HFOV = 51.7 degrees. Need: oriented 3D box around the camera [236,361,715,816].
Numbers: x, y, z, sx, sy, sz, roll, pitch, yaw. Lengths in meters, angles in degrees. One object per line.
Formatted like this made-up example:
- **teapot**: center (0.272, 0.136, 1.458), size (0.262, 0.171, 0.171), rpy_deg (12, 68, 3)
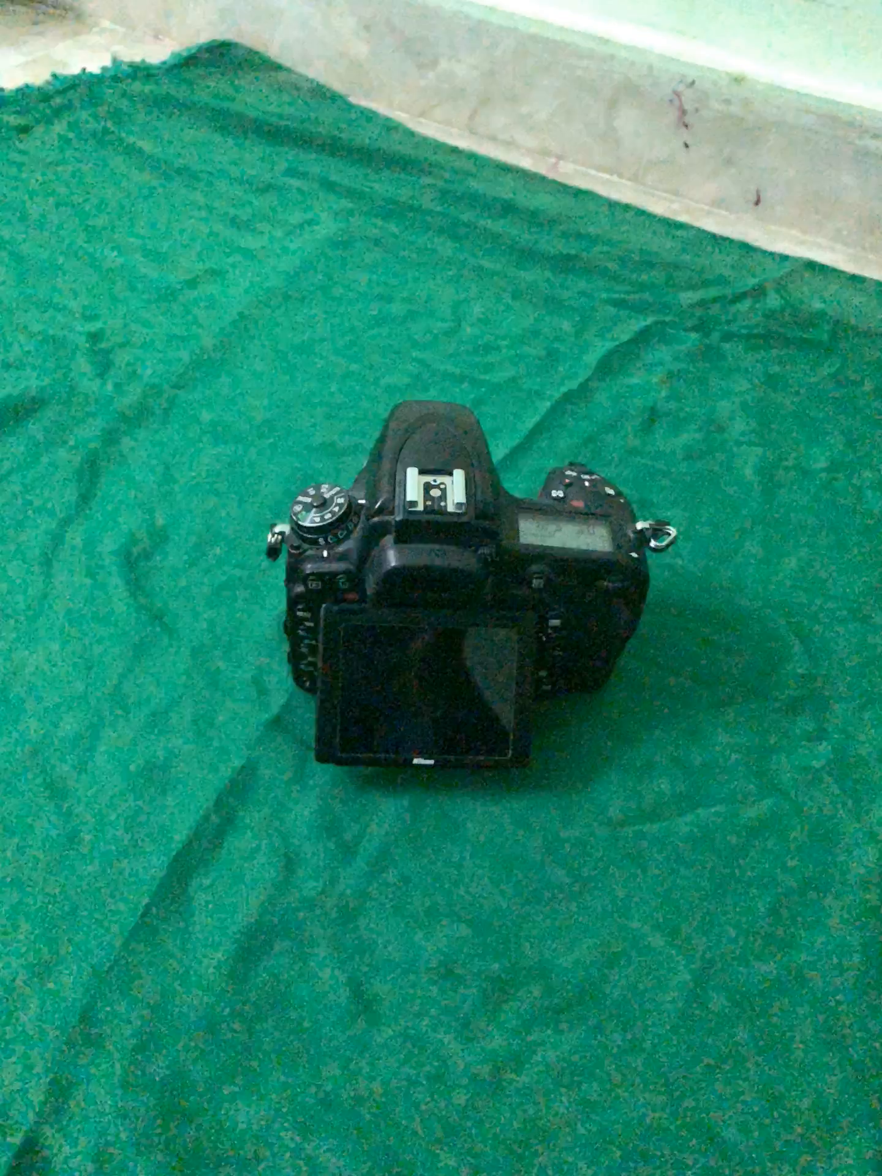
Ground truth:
- **camera**: center (0.011, -0.001, 0.348), size (0.142, 0.100, 0.129), rpy_deg (5, 49, 0)
